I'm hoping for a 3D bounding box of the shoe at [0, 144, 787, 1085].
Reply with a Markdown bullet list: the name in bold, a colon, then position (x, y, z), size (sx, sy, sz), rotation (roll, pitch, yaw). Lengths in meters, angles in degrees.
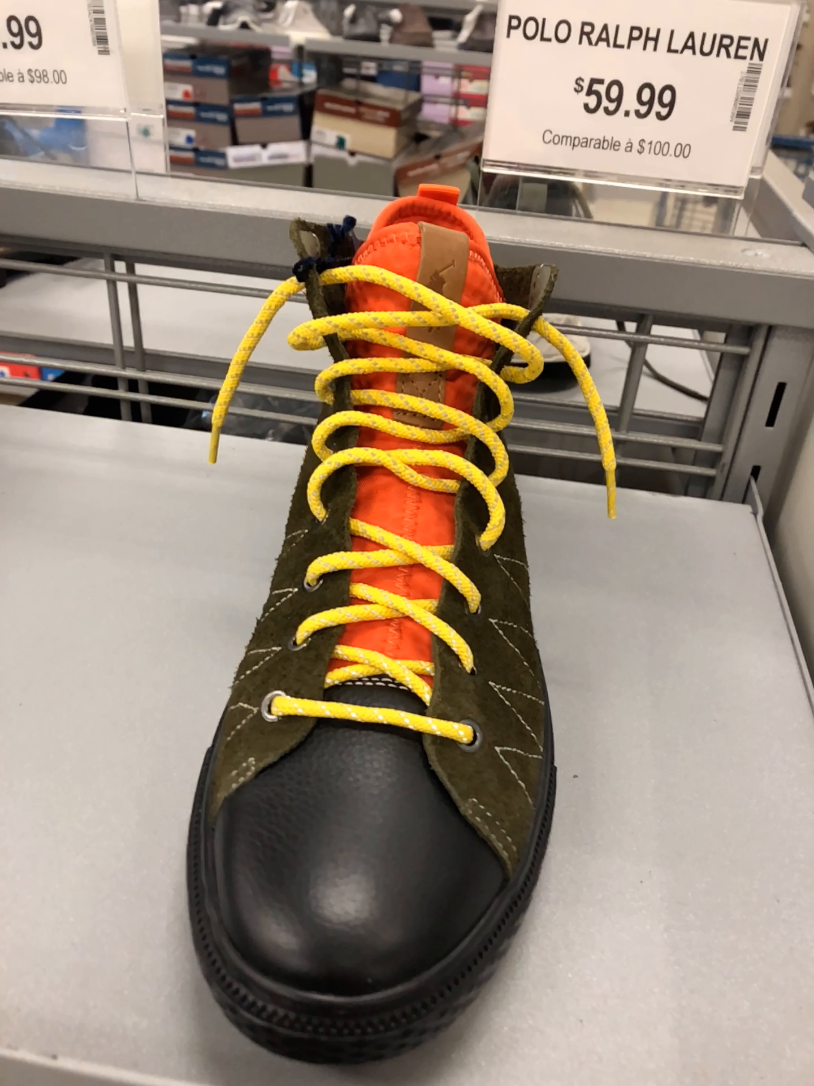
- **shoe**: position (0.004, -0.016, 0.314), size (0.125, 0.171, 0.300), rotation (6, 33, 2)
